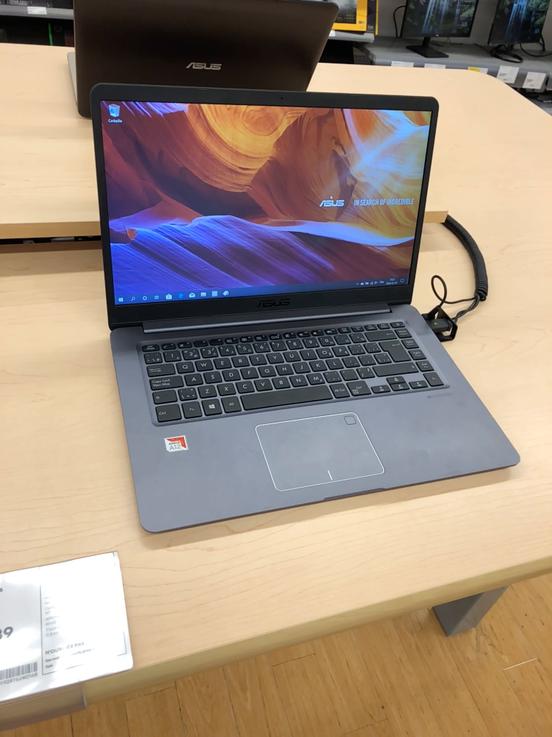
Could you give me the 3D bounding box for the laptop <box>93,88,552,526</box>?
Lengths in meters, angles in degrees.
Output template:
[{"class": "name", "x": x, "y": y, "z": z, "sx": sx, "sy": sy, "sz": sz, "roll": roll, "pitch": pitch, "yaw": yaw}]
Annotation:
[{"class": "laptop", "x": 0.036, "y": -0.082, "z": 0.574, "sx": 0.361, "sy": 0.223, "sz": 0.318, "roll": -6, "pitch": 46, "yaw": -19}]
